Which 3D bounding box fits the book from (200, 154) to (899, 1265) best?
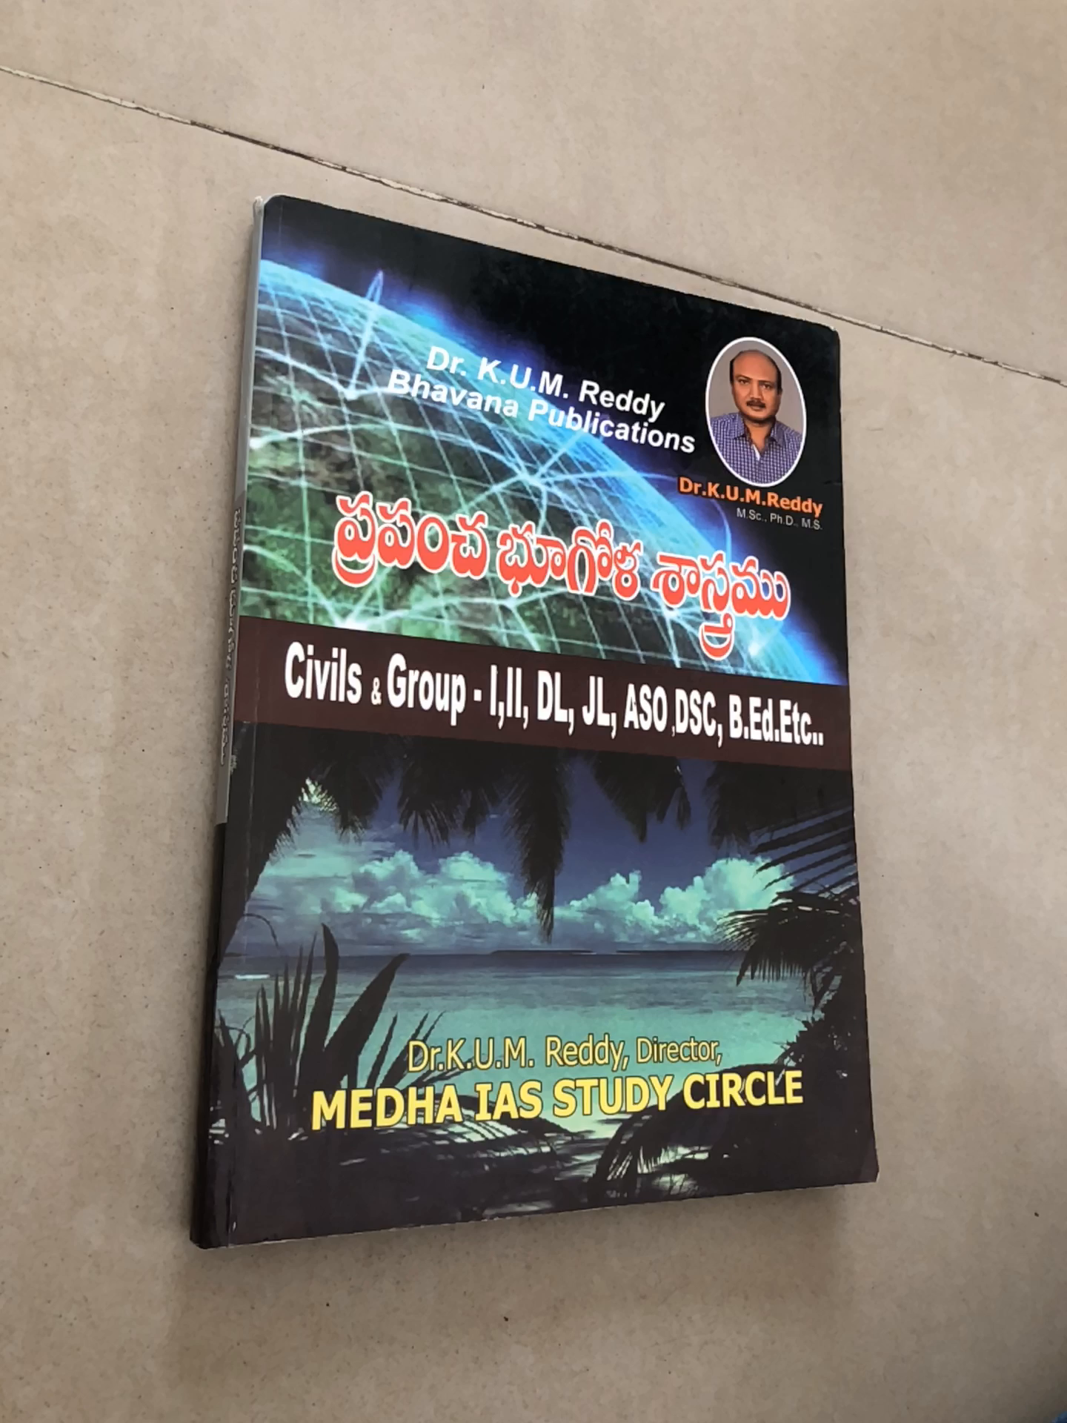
[{"bbox_3d":[0.011,-0.002,0.322,0.180,0.030,0.260,5,78,-24],"label":"book"}]
